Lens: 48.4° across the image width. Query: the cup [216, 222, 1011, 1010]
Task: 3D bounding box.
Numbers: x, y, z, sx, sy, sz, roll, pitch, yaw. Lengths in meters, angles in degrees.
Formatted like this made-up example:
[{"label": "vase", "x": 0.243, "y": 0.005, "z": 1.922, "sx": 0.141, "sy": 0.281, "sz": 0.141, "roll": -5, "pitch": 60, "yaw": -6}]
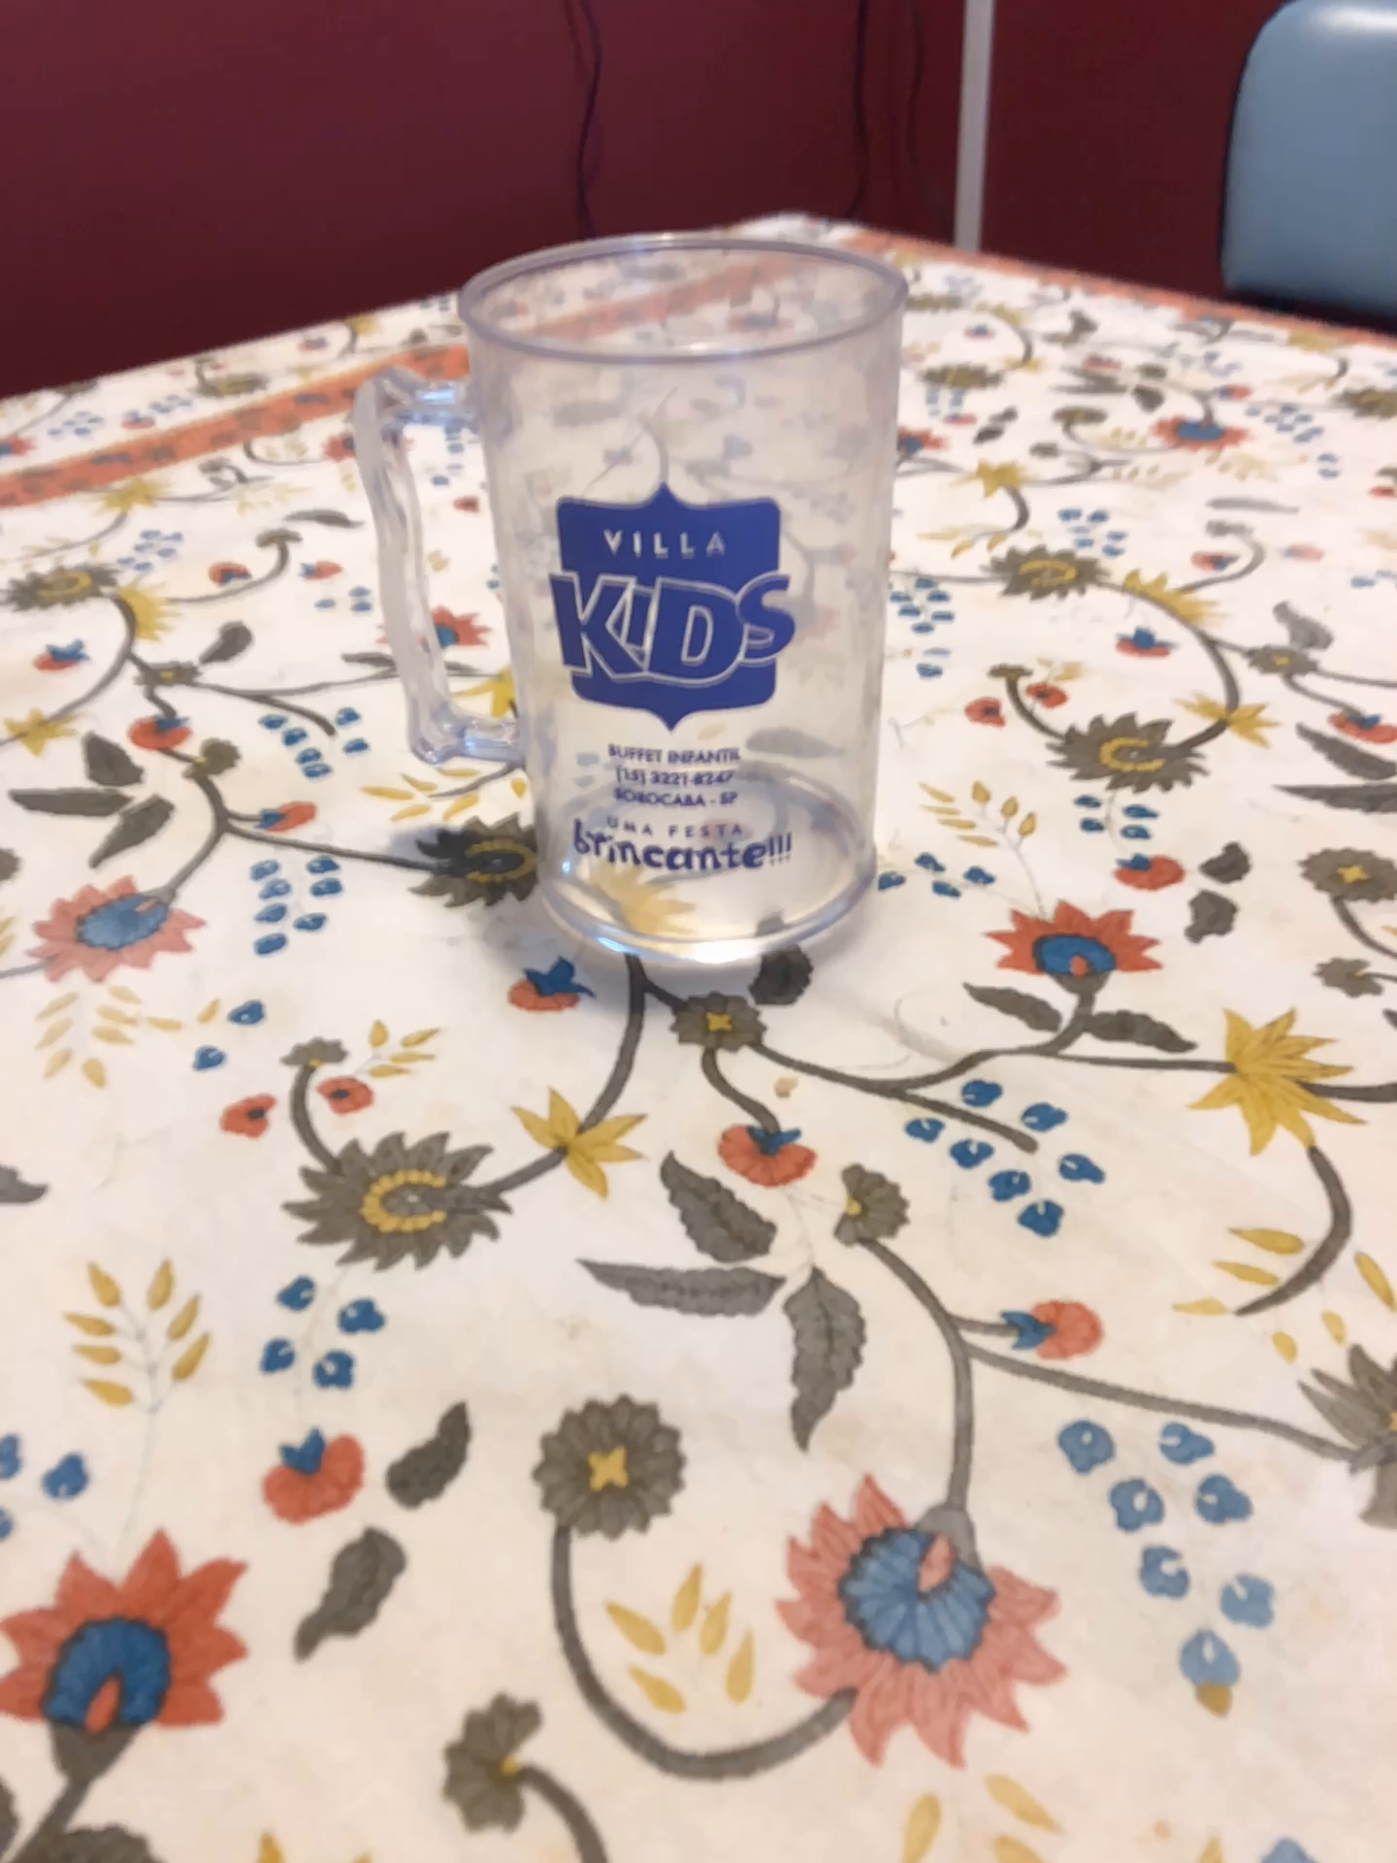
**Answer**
[{"label": "cup", "x": -0.006, "y": -0.059, "z": 0.279, "sx": 0.110, "sy": 0.109, "sz": 0.081, "roll": 6, "pitch": 36, "yaw": 11}]
